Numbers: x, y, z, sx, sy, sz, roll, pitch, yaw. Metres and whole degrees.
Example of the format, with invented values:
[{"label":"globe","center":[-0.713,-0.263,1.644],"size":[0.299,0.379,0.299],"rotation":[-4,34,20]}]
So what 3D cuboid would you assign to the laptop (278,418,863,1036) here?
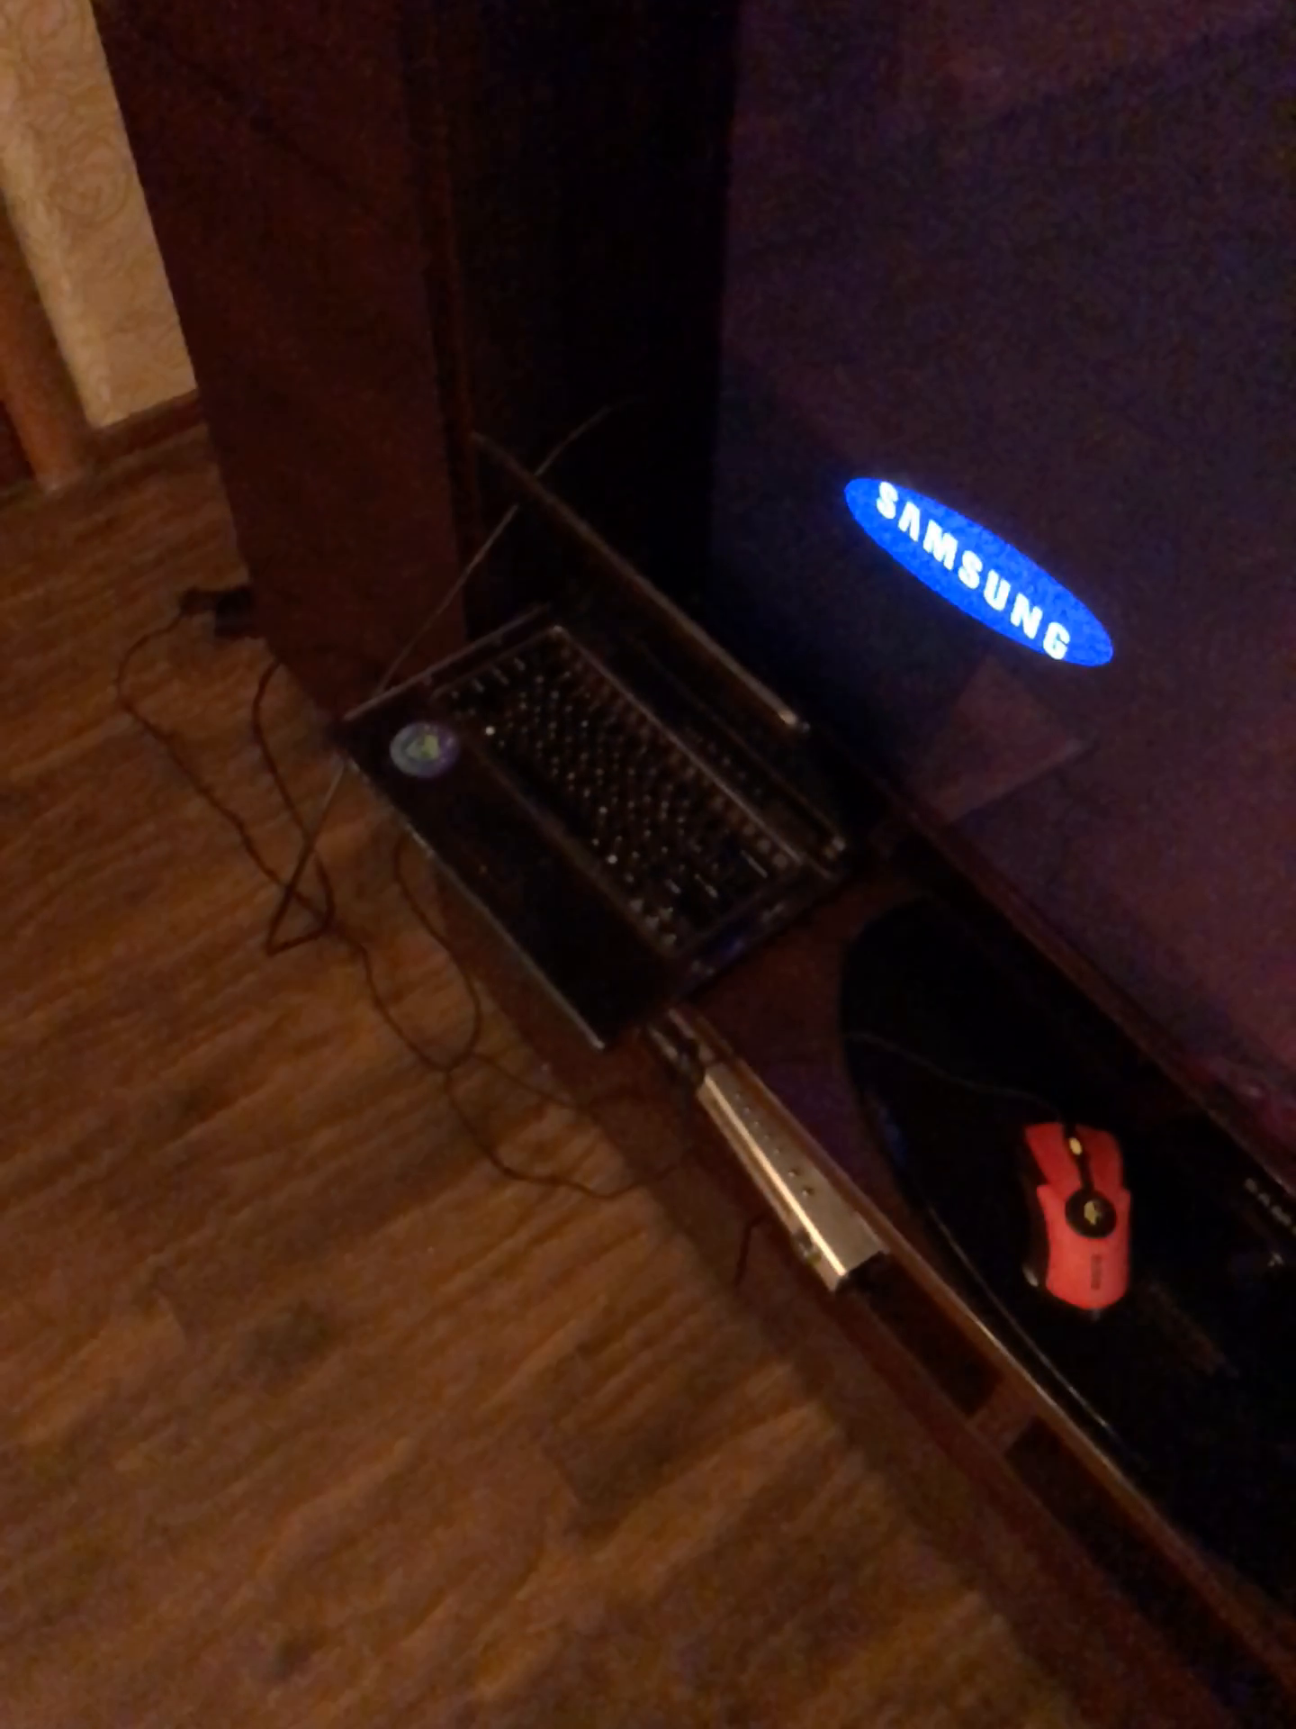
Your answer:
[{"label":"laptop","center":[-0.058,-0.101,0.965],"size":[0.200,0.183,0.336],"rotation":[-33,62,-23]}]
